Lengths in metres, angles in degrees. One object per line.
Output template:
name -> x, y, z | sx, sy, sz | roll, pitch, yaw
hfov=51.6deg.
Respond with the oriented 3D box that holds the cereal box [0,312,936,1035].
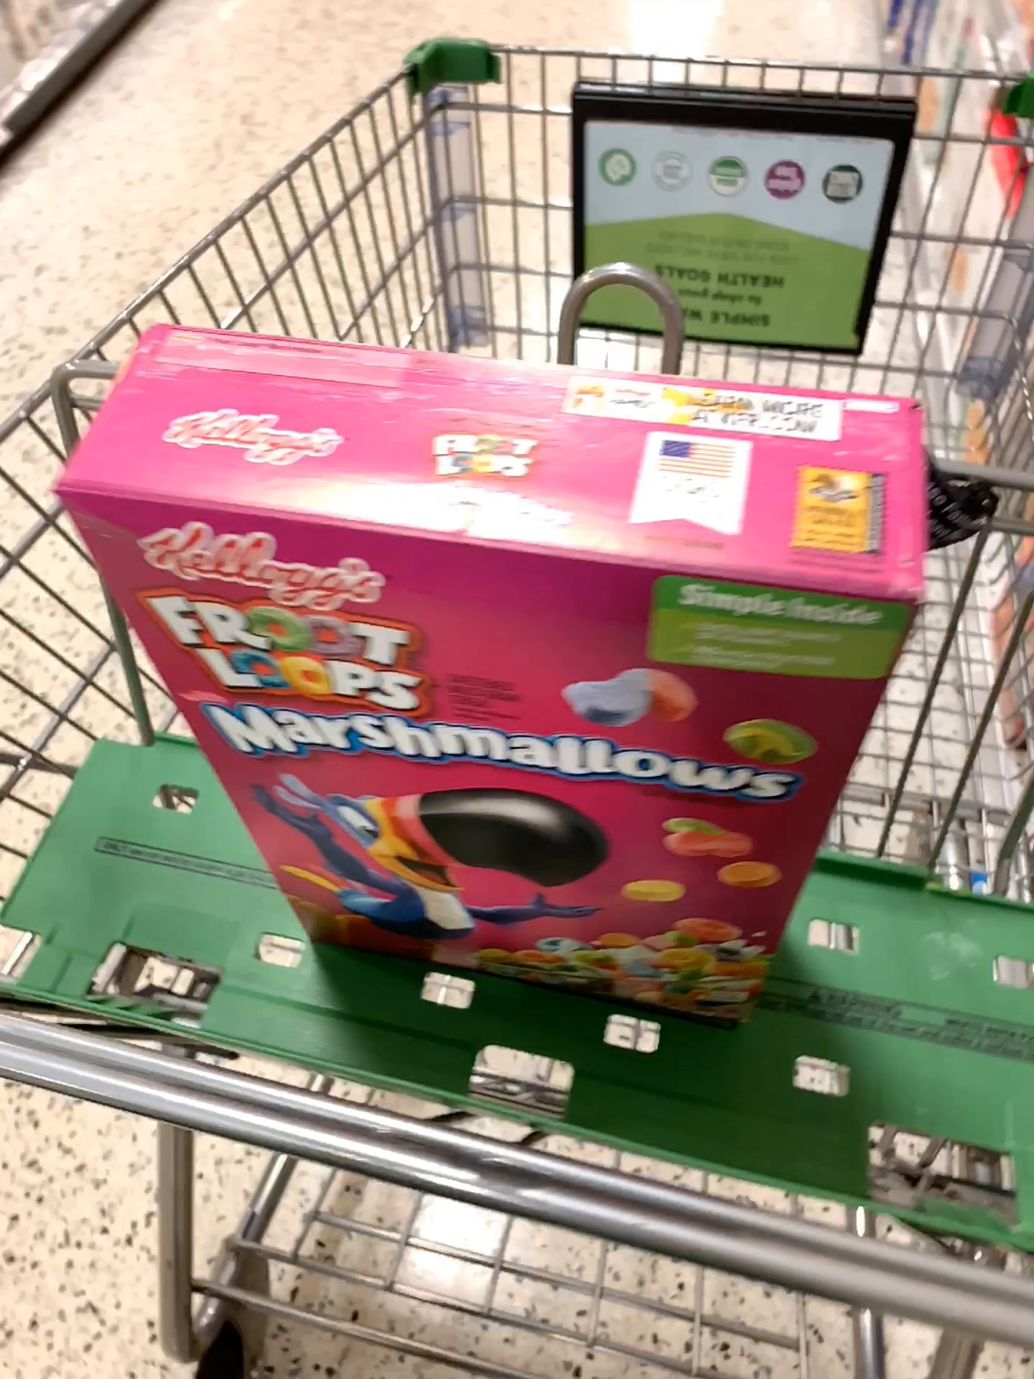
cereal box -> -0.003, 0.024, 0.355 | 0.200, 0.288, 0.061 | 9, 57, 9
